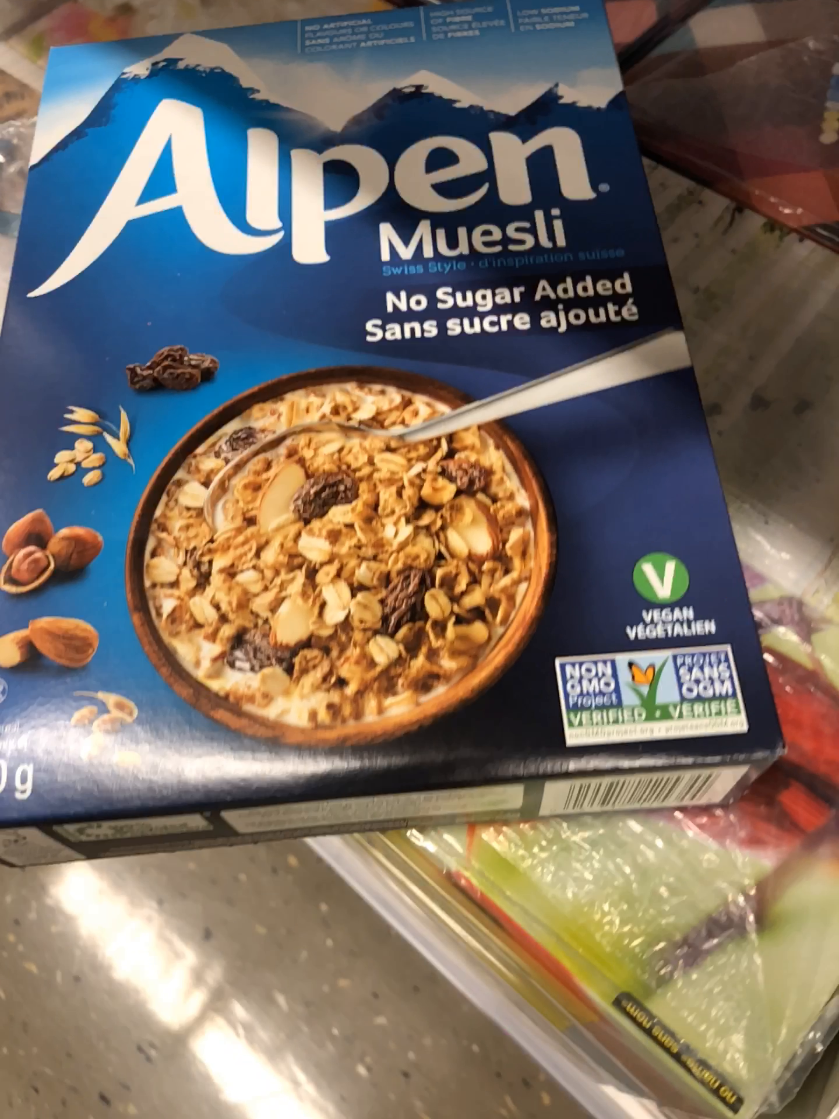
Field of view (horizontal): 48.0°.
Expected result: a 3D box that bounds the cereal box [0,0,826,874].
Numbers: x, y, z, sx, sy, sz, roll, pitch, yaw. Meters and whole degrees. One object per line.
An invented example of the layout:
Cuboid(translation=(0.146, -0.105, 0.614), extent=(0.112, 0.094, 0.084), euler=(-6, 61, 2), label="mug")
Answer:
Cuboid(translation=(-0.027, -0.065, 0.262), extent=(0.190, 0.050, 0.271), euler=(-5, 64, 1), label="cereal box")
